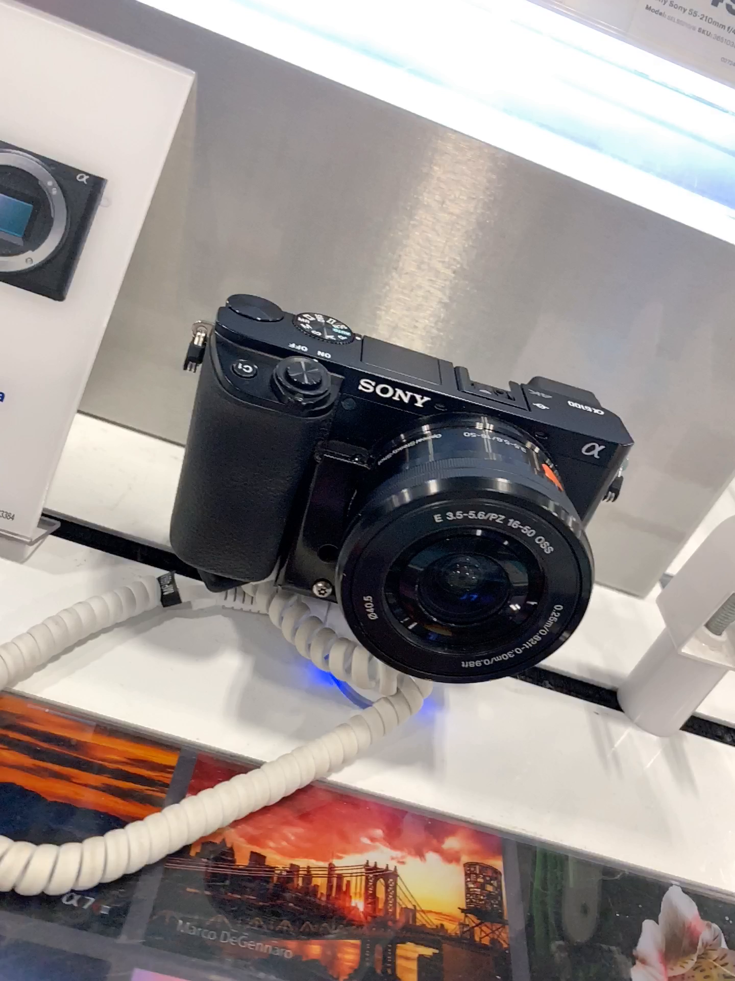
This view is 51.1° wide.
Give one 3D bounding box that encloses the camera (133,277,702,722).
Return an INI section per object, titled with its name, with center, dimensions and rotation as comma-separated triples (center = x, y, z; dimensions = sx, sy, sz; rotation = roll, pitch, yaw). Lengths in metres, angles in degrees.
[camera]
center = 0.009, 0.004, 0.214
dimensions = 0.120, 0.070, 0.070
rotation = 14, 34, -14
